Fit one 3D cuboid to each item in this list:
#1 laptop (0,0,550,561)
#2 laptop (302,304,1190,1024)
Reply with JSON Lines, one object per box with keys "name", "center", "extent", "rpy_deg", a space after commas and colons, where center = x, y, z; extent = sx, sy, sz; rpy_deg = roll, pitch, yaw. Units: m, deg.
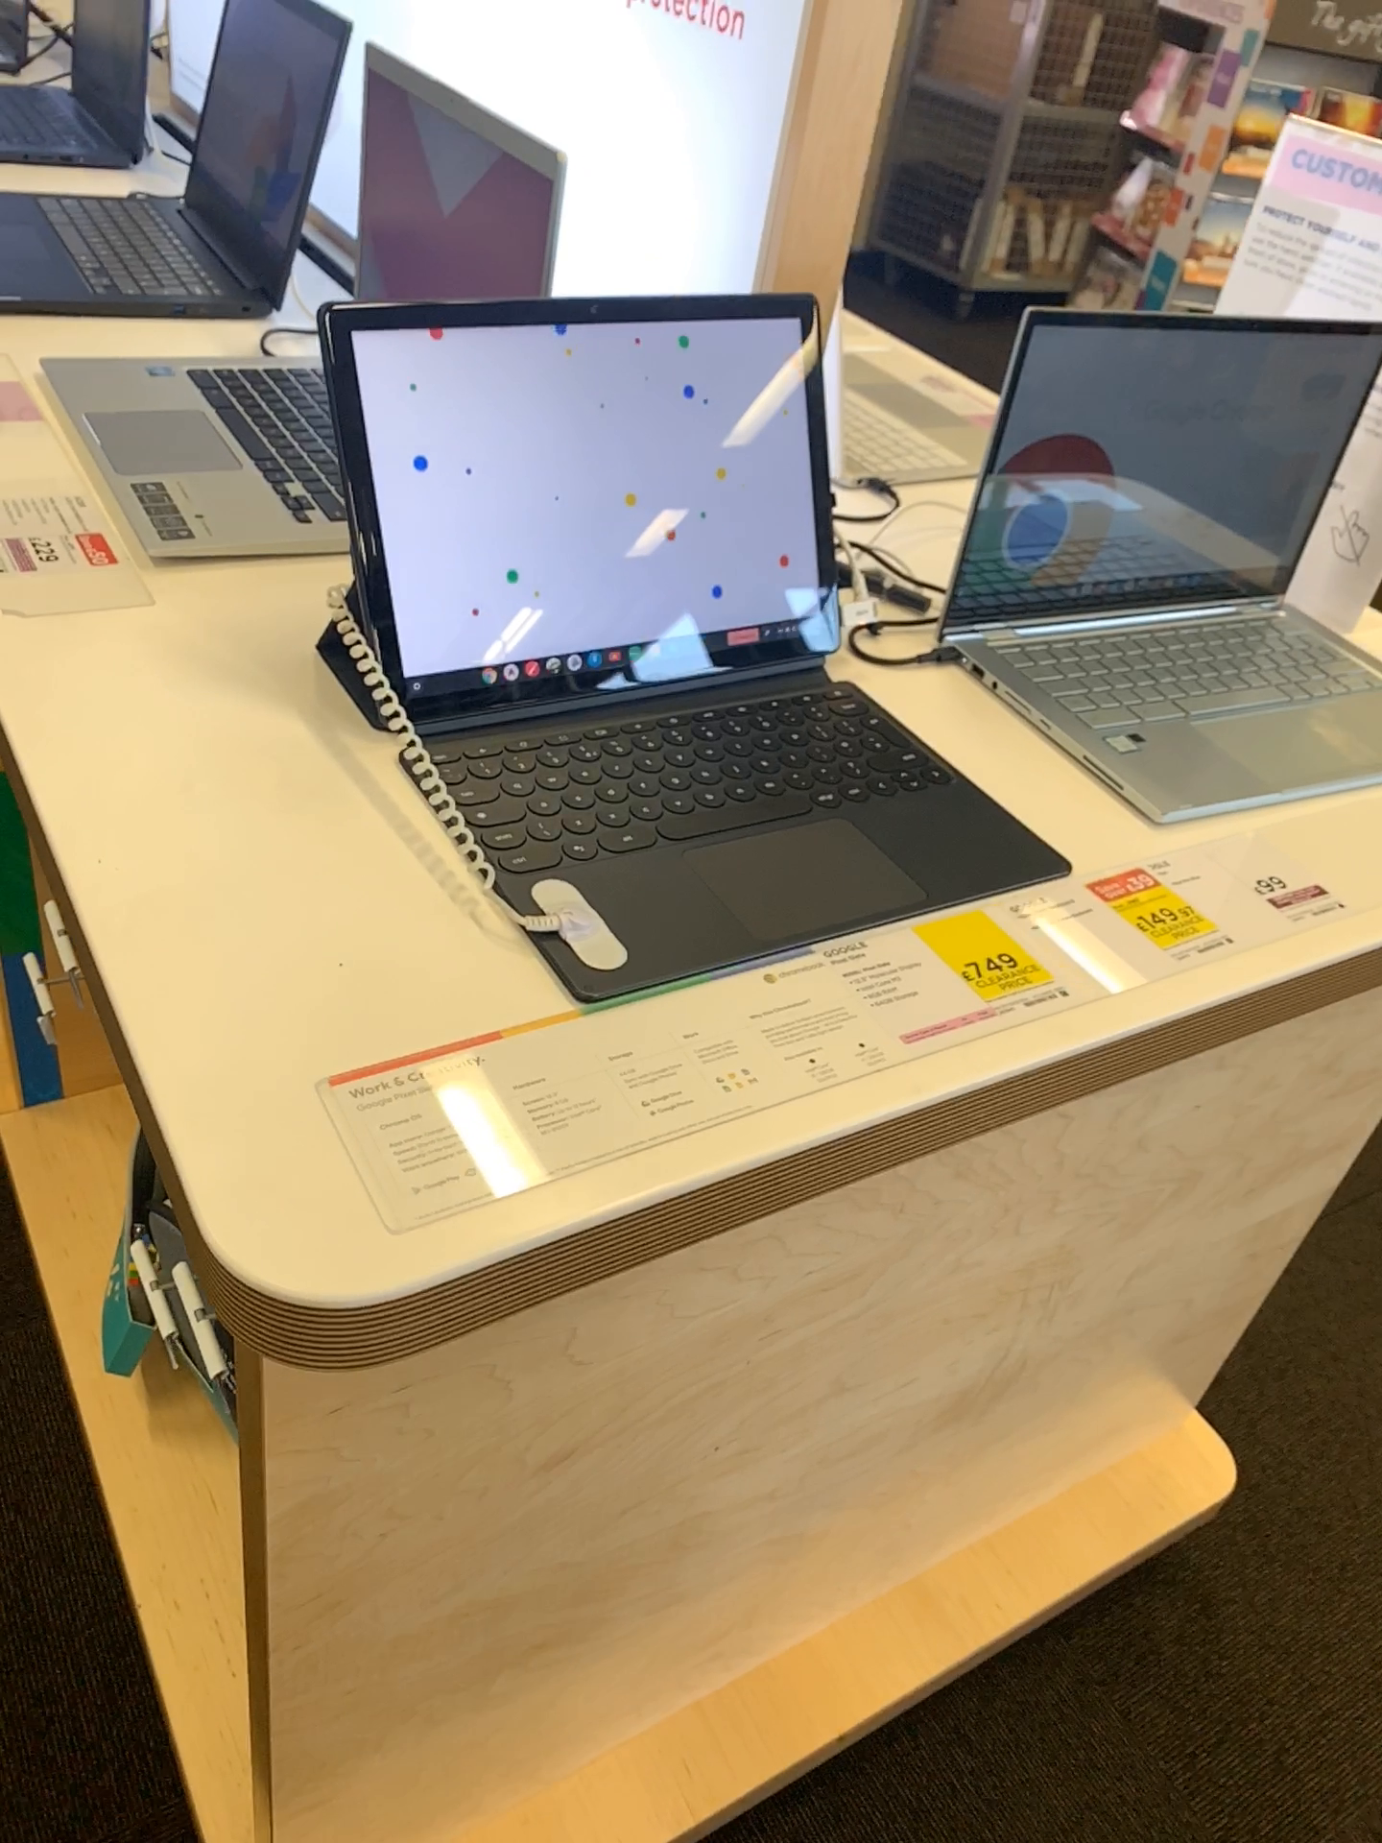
{"name": "laptop", "center": [-0.270, -0.412, 0.899], "extent": [0.233, 0.222, 0.321], "rpy_deg": [-12, 44, -30]}
{"name": "laptop", "center": [0.003, -0.150, 0.683], "extent": [0.286, 0.187, 0.294], "rpy_deg": [-14, 44, -30]}
